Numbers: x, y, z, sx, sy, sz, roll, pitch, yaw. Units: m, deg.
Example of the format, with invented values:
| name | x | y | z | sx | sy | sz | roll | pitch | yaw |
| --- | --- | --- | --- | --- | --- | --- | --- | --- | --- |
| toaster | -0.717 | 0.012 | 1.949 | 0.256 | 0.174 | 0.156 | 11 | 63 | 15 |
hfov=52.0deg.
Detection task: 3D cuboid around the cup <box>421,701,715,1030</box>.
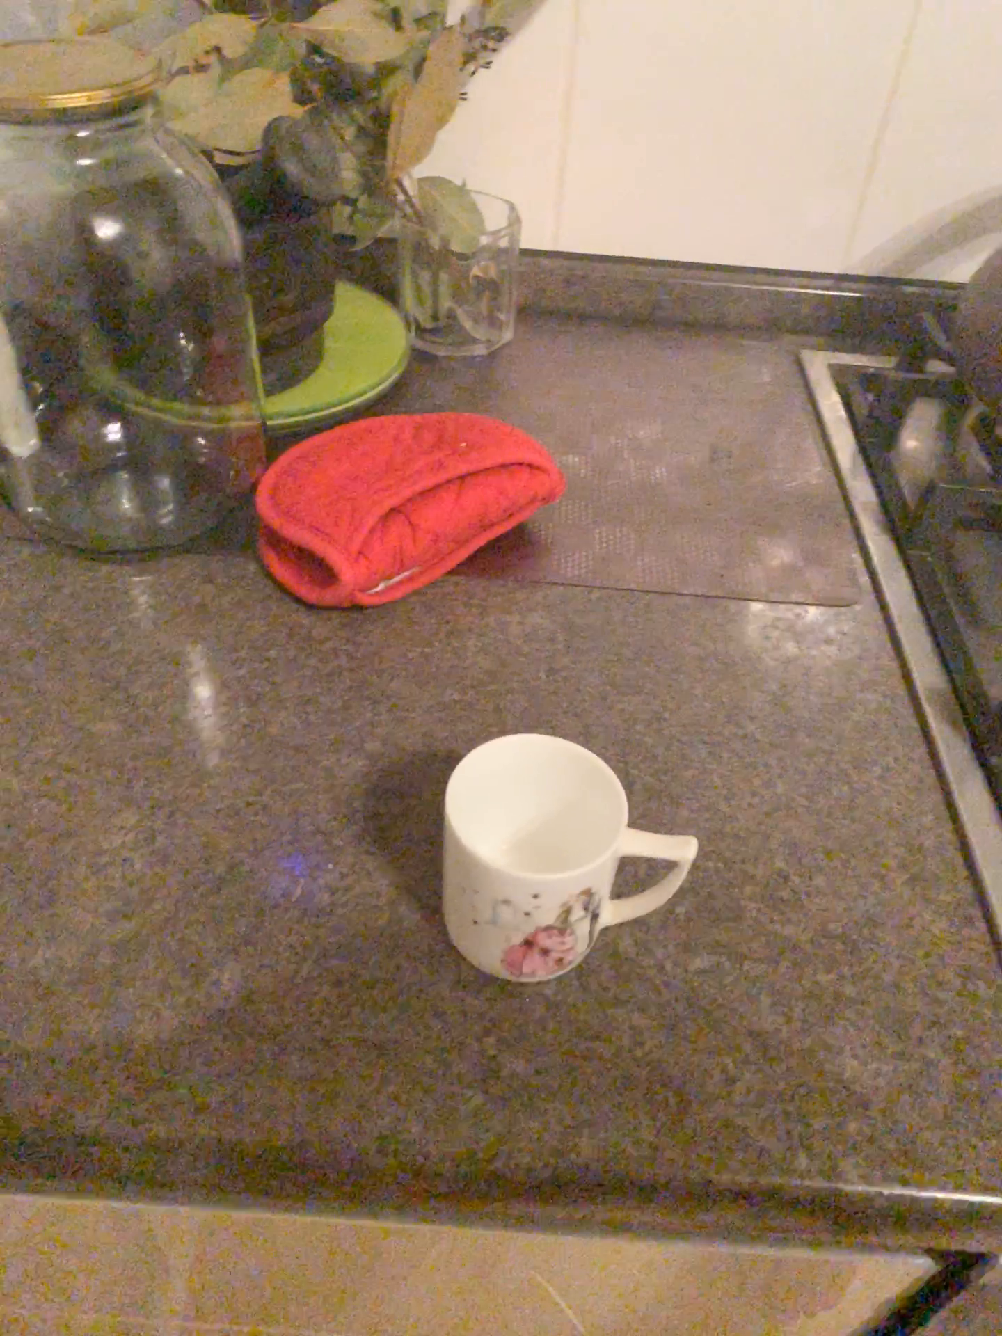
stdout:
| name | x | y | z | sx | sy | sz | roll | pitch | yaw |
| --- | --- | --- | --- | --- | --- | --- | --- | --- | --- |
| cup | 0.021 | 0.065 | 0.344 | 0.080 | 0.069 | 0.061 | 13 | 43 | 10 |
